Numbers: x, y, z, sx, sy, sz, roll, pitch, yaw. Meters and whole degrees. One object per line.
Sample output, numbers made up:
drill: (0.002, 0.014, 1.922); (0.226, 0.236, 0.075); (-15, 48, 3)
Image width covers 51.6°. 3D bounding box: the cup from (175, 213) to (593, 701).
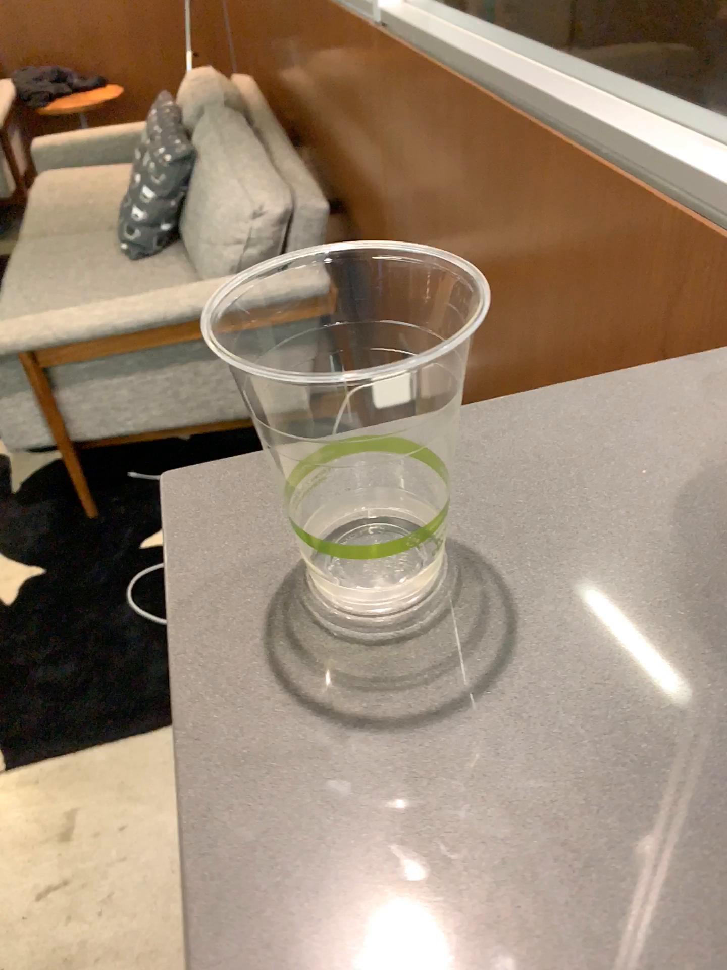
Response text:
cup: (0.004, -0.014, 0.275); (0.100, 0.119, 0.101); (-3, 40, 3)
